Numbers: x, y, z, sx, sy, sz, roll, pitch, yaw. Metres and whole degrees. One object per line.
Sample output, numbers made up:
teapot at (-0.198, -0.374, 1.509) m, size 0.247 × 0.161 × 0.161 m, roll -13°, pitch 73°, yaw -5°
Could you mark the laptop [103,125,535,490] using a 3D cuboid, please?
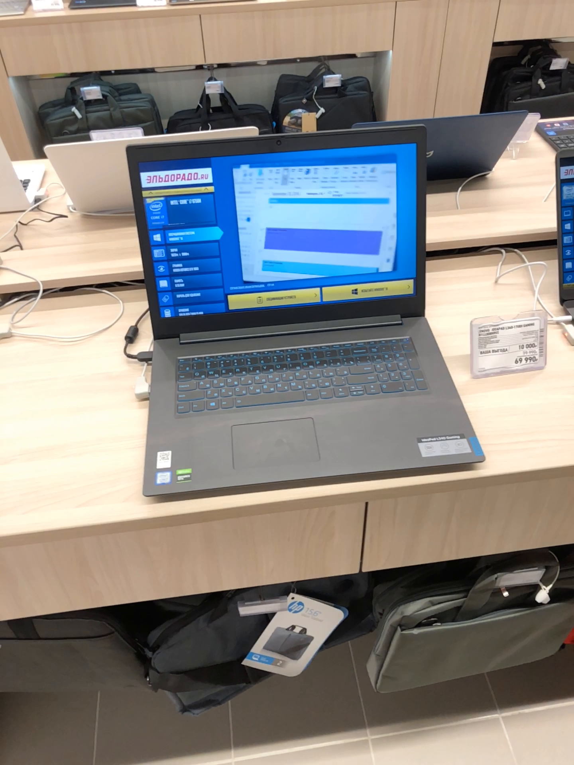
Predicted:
laptop at (0.015, -0.114, 0.790) m, size 0.395 × 0.242 × 0.382 m, roll -5°, pitch 44°, yaw -4°
